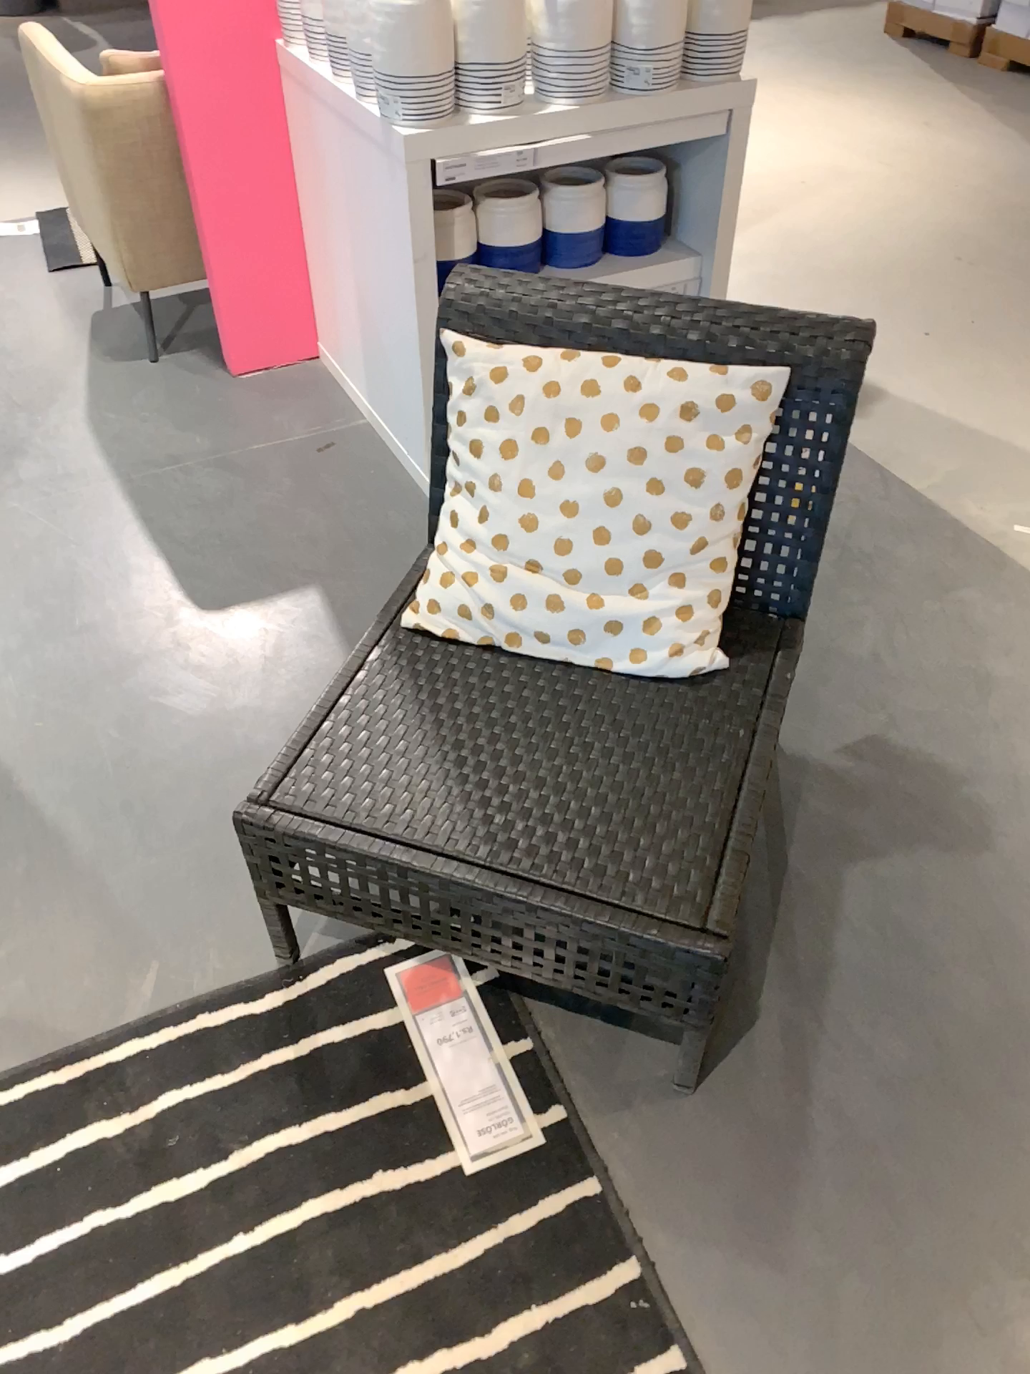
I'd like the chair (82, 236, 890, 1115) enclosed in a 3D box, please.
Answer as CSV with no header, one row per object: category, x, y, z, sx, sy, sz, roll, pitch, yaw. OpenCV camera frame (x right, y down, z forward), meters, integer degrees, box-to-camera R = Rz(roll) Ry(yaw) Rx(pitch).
chair,0.039,-0.051,1.479,0.701,0.797,0.782,14,45,15
